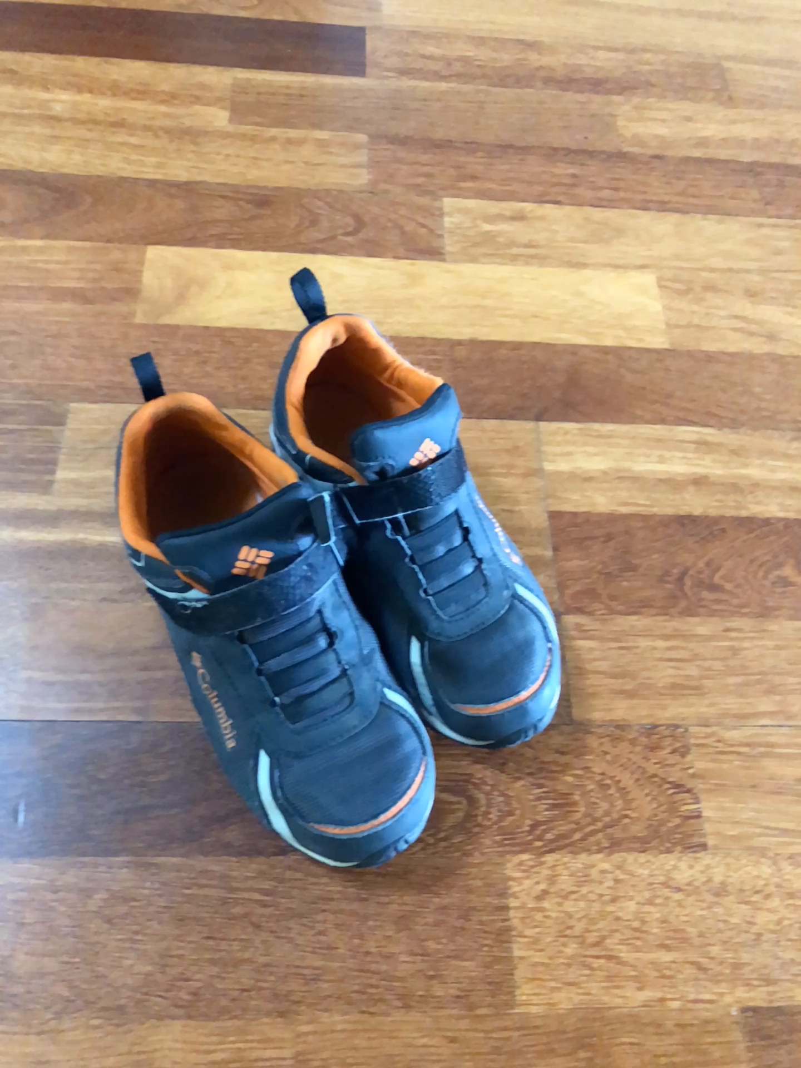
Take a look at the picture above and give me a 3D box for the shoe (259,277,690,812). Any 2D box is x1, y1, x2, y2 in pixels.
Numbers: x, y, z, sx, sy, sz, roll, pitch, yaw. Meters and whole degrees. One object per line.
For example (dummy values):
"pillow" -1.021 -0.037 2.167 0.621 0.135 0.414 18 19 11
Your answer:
"shoe" 0.023 0.003 0.499 0.111 0.126 0.252 -22 66 -17

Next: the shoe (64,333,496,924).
"shoe" -0.066 0.040 0.428 0.097 0.102 0.248 -22 66 -17
